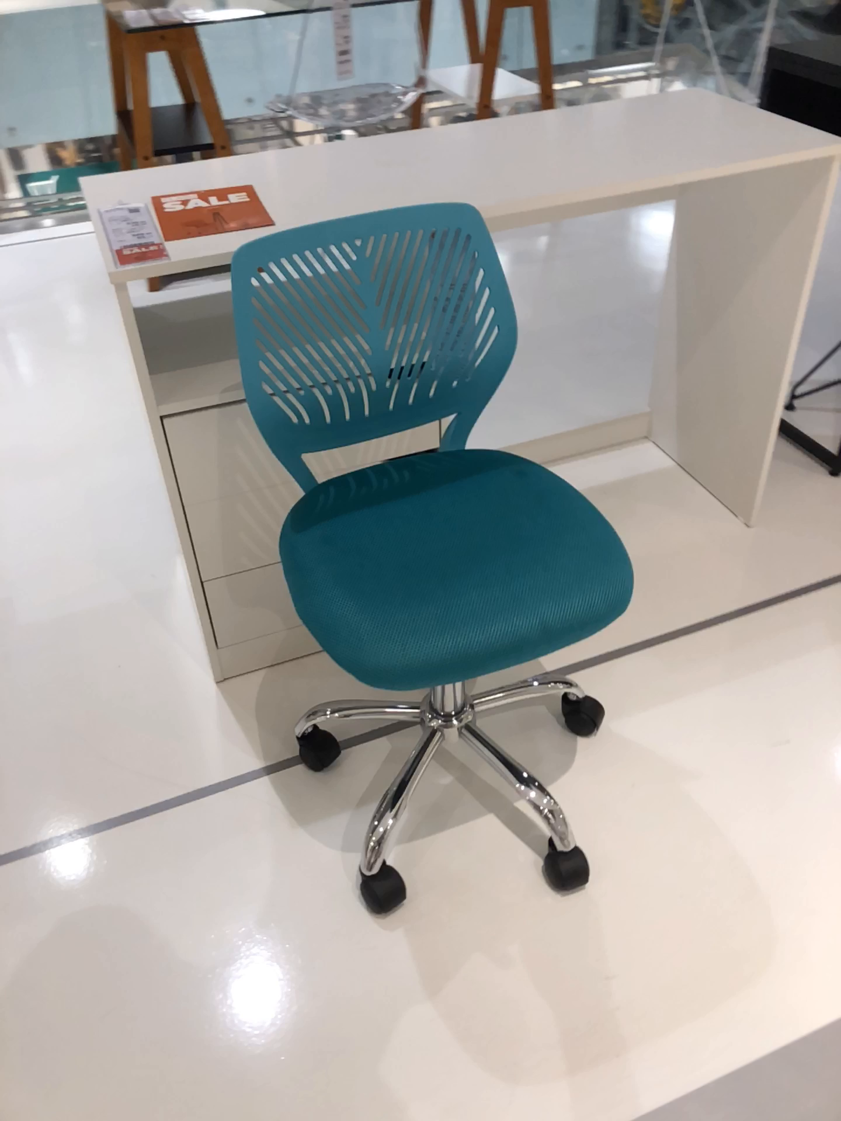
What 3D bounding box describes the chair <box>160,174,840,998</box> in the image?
[{"bbox_3d":[0.060,0.012,1.107,0.501,0.724,0.503,-16,39,-17],"label":"chair"}]
